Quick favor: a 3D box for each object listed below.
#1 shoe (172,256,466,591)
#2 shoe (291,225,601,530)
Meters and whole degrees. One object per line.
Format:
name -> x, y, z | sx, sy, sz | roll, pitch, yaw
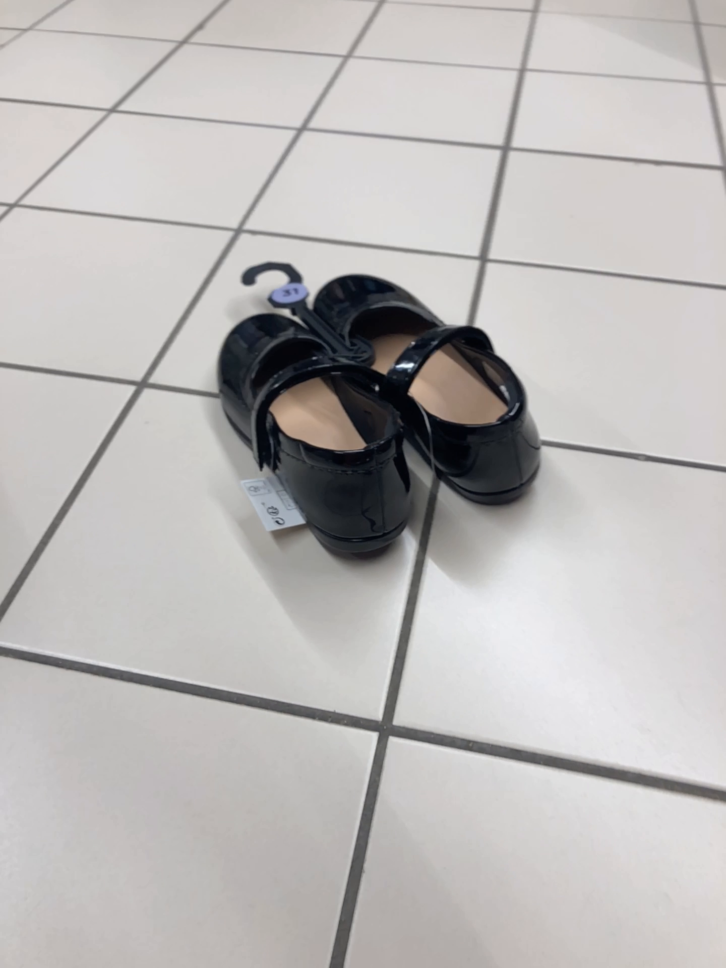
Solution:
shoe -> -0.033, -0.047, 0.454 | 0.079, 0.052, 0.211 | -20, 50, -18
shoe -> 0.038, -0.074, 0.478 | 0.079, 0.056, 0.205 | -21, 50, -19
